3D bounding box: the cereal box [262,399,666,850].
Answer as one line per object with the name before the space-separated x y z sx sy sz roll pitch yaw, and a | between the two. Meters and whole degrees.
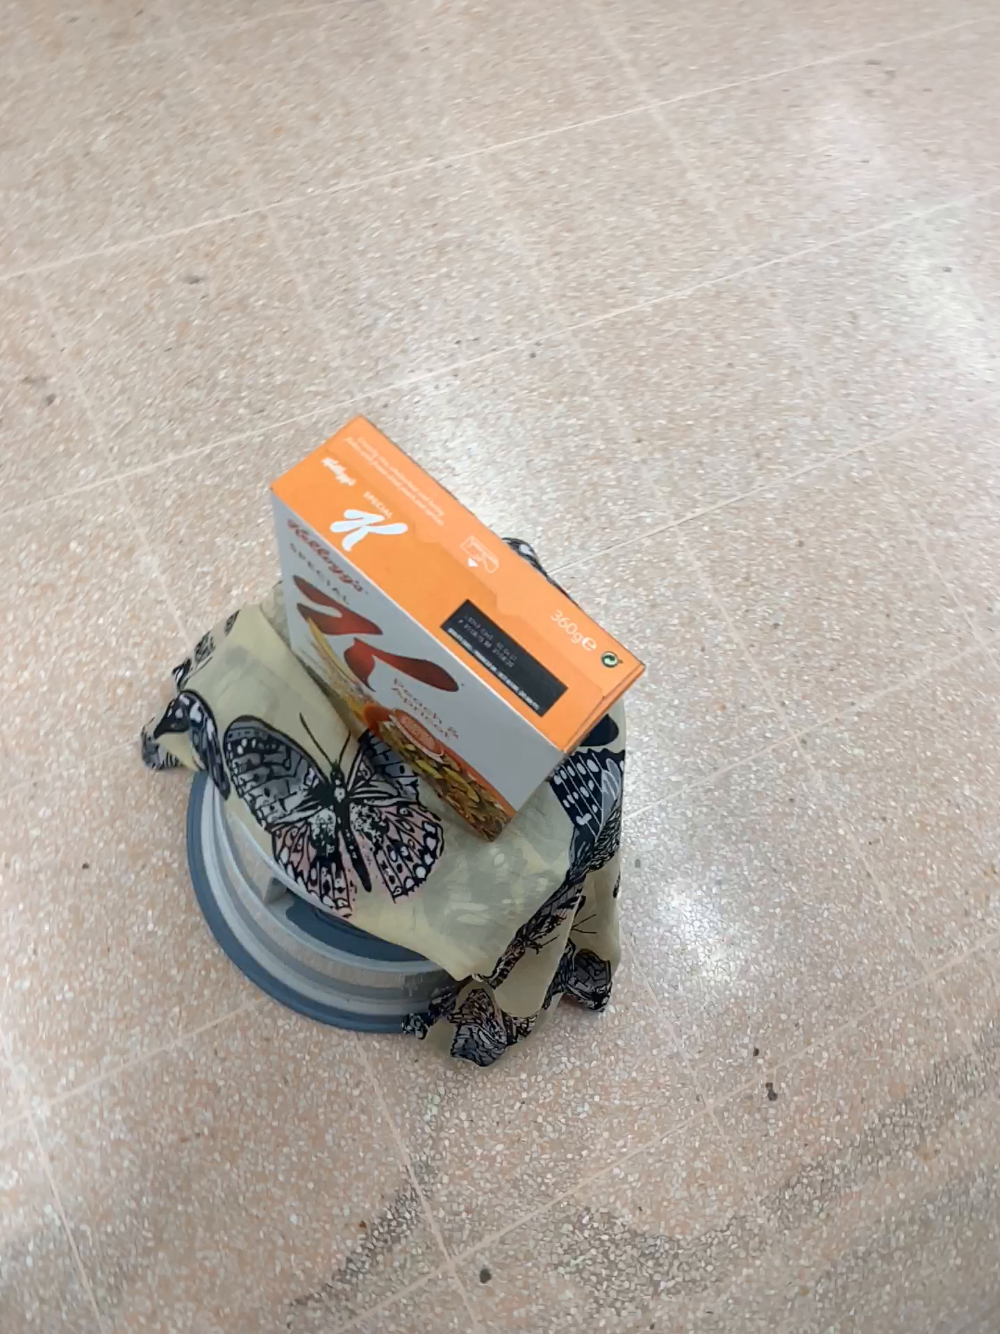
cereal box | -0.037 -0.002 0.614 0.210 0.269 0.060 43 71 6
